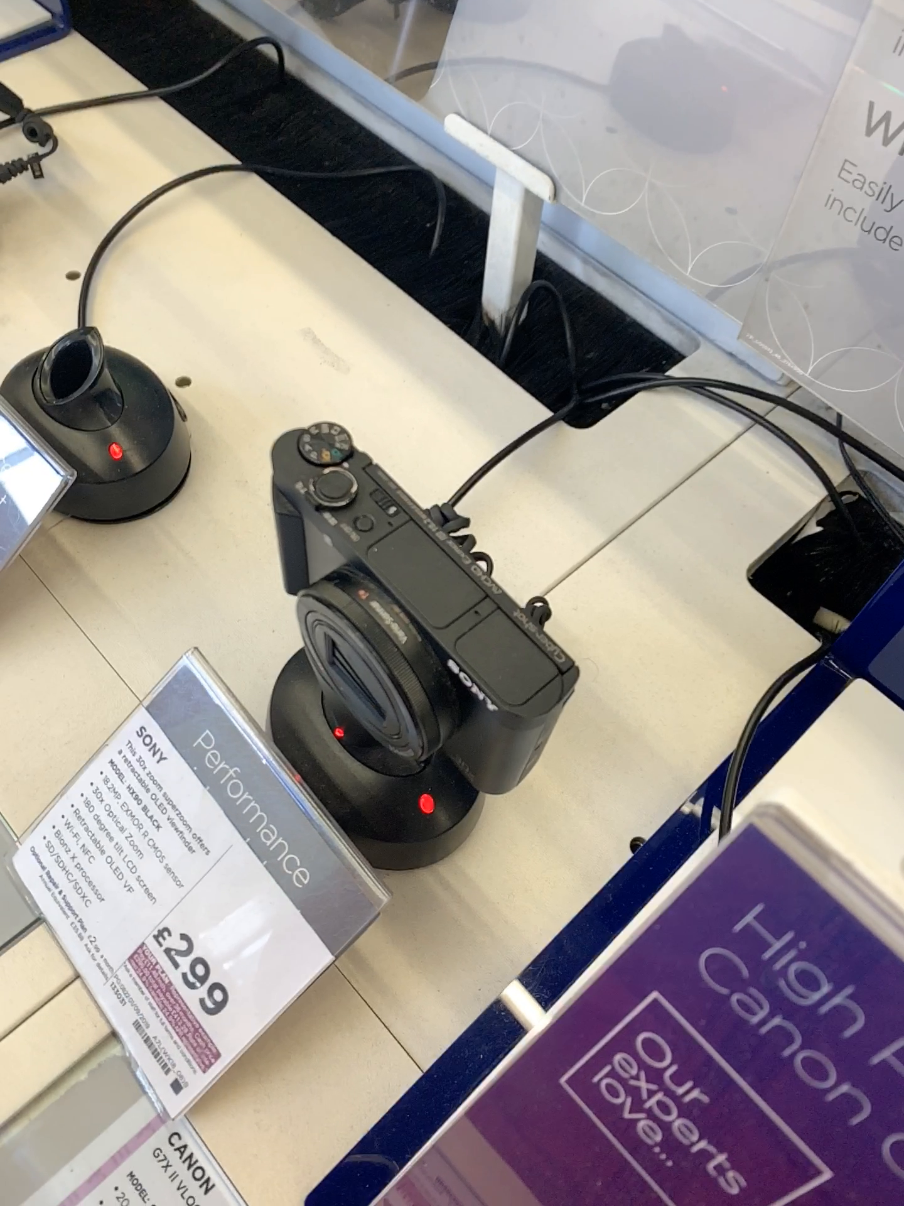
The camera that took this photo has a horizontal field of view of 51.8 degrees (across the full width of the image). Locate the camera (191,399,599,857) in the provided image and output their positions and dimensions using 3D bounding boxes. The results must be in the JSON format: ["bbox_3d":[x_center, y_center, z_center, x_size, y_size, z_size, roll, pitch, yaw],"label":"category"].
[{"bbox_3d":[-0.018,0.007,0.242,0.040,0.060,0.100,-36,69,-22],"label":"camera"}]
